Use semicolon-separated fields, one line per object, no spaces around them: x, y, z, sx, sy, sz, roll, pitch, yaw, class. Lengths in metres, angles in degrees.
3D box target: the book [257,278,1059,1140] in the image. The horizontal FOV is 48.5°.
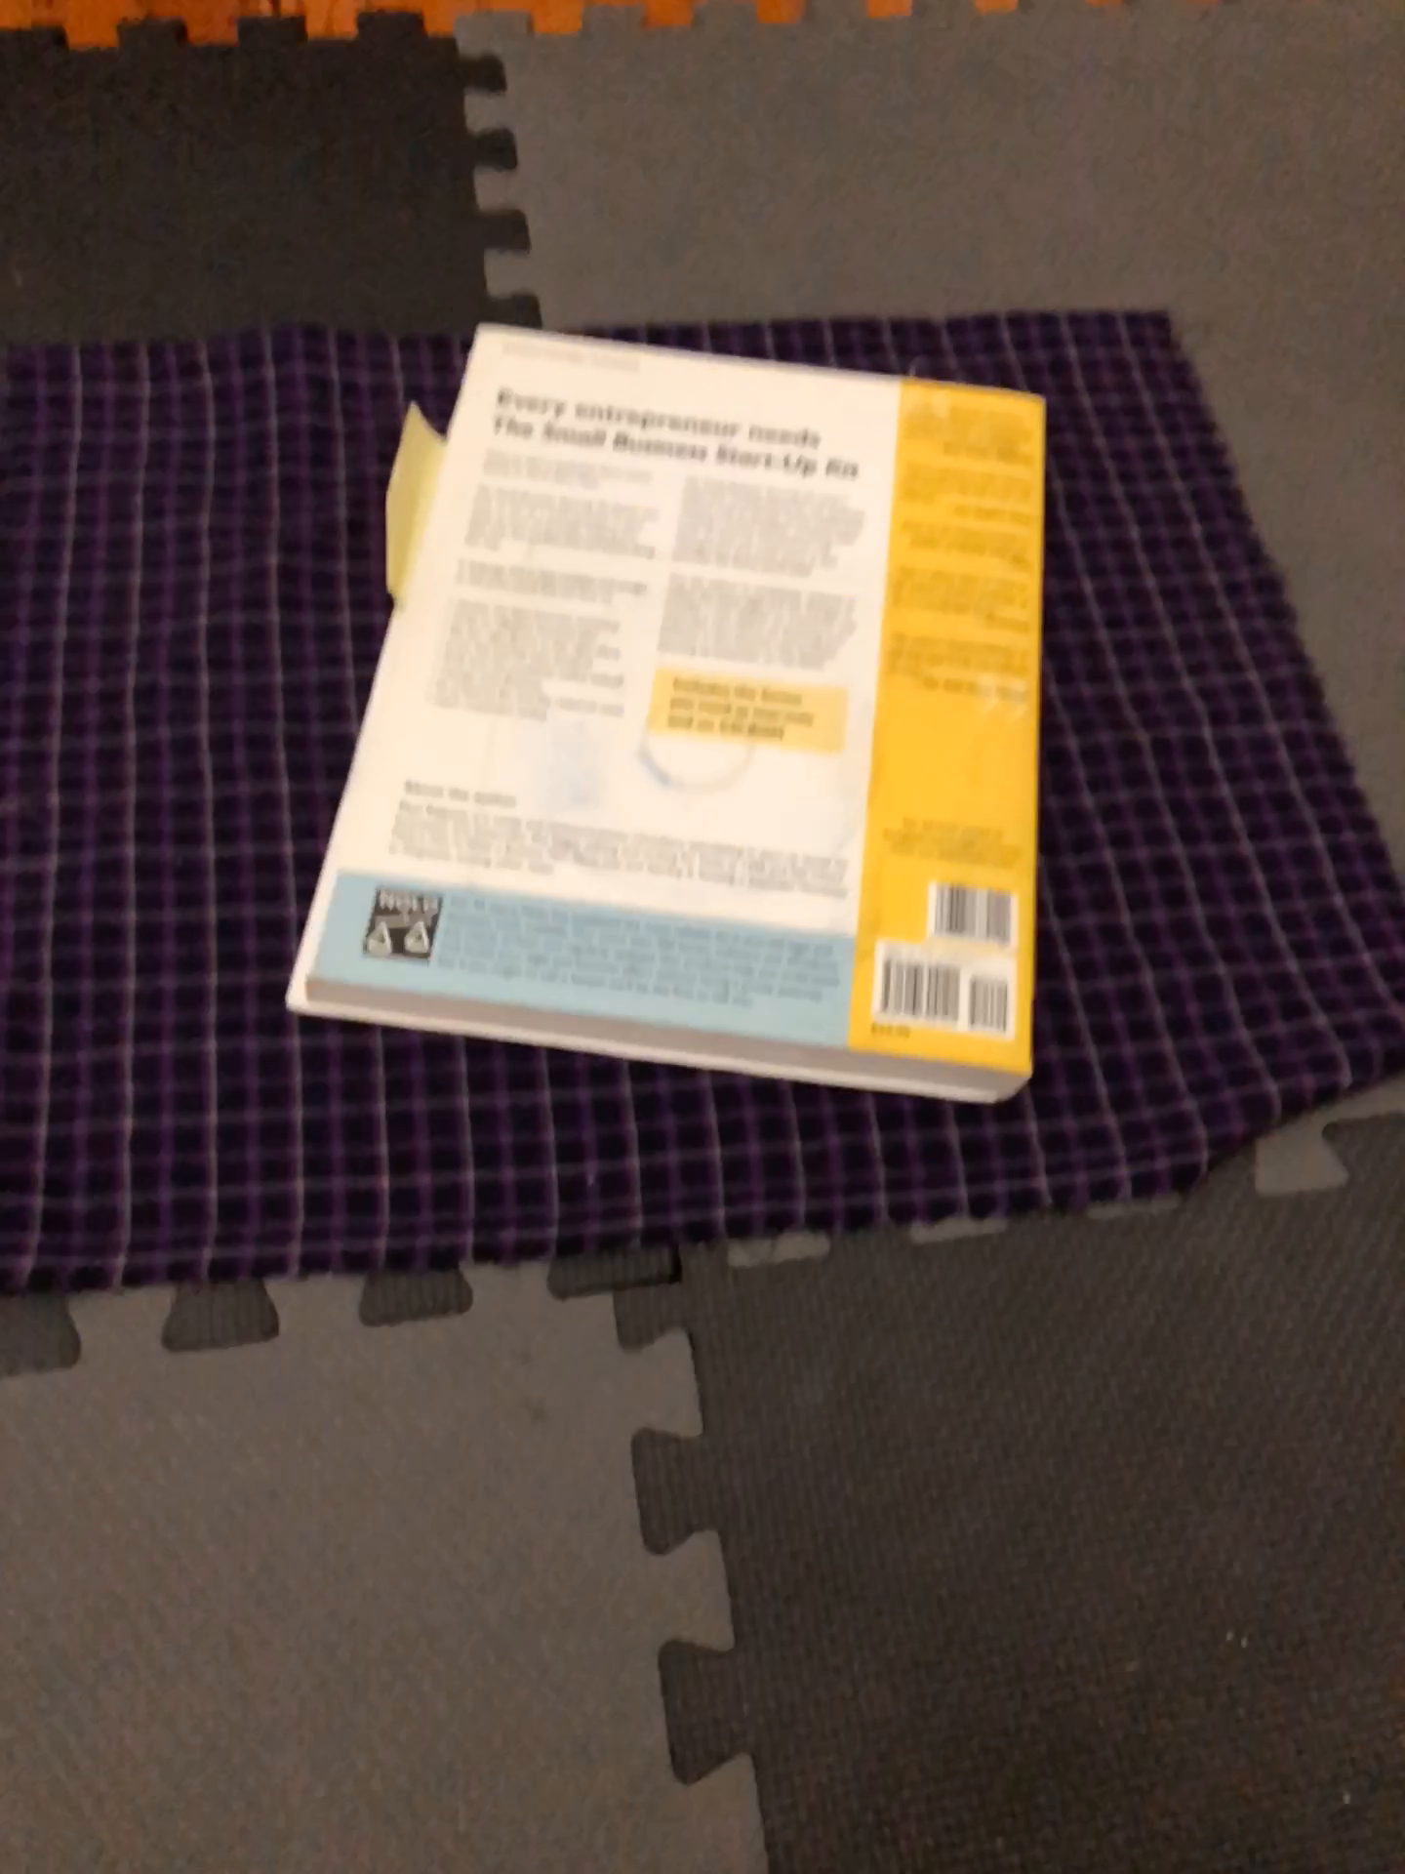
0.003;-0.096;0.538;0.230;0.030;0.311;8;61;0;book
